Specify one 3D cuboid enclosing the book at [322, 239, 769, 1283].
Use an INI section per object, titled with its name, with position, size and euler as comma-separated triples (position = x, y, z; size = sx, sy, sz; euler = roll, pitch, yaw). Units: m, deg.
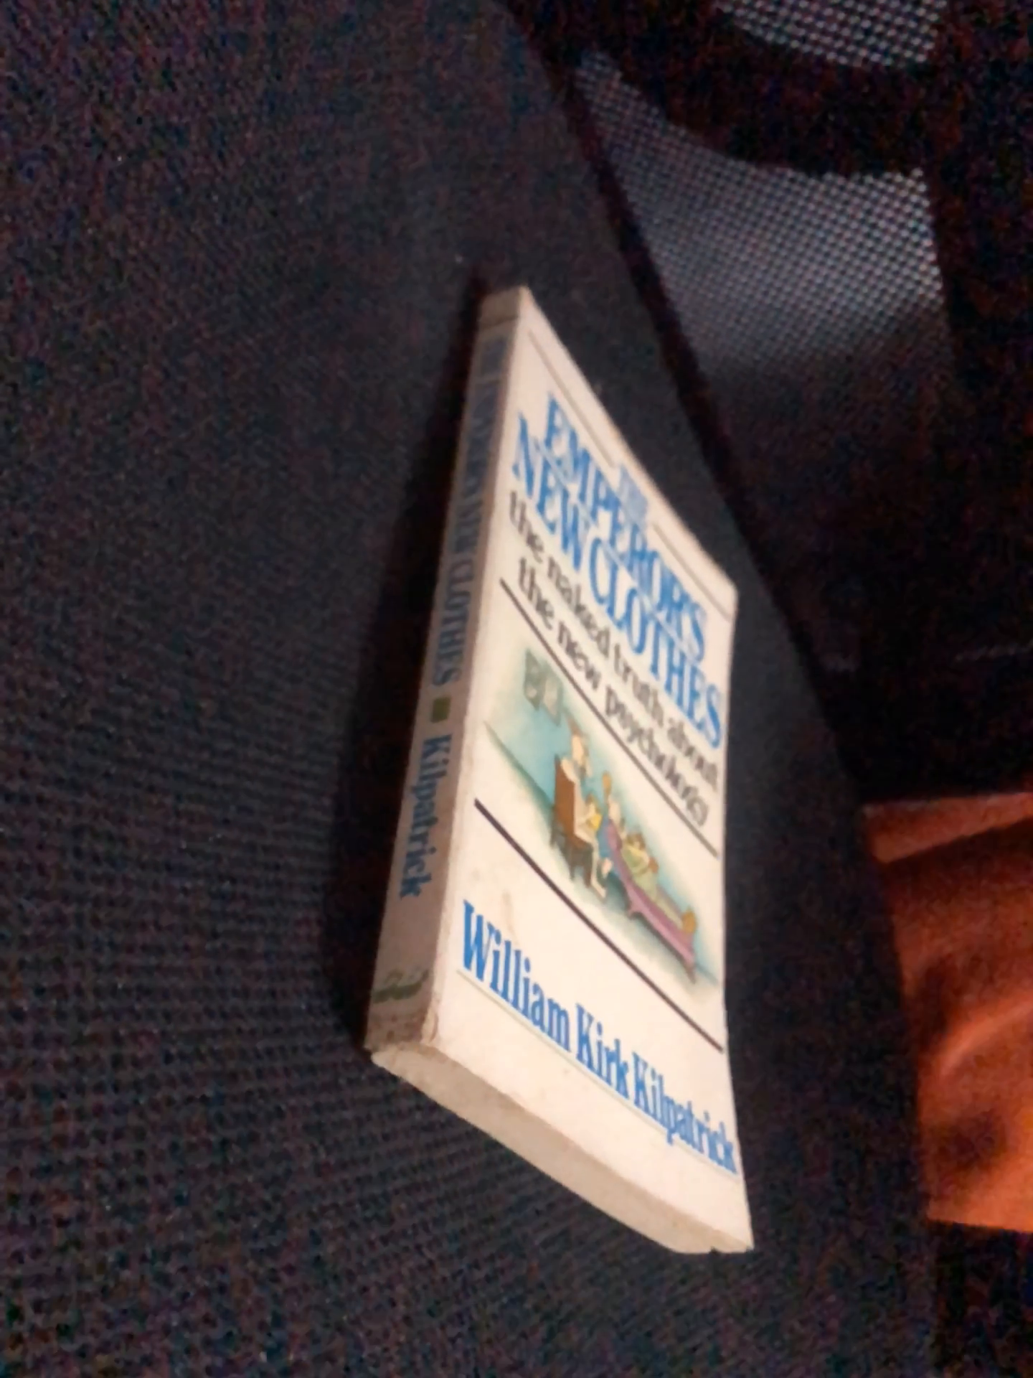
[book]
position = 0.023, 0.009, 0.299
size = 0.145, 0.020, 0.230
euler = 49, 35, -41
